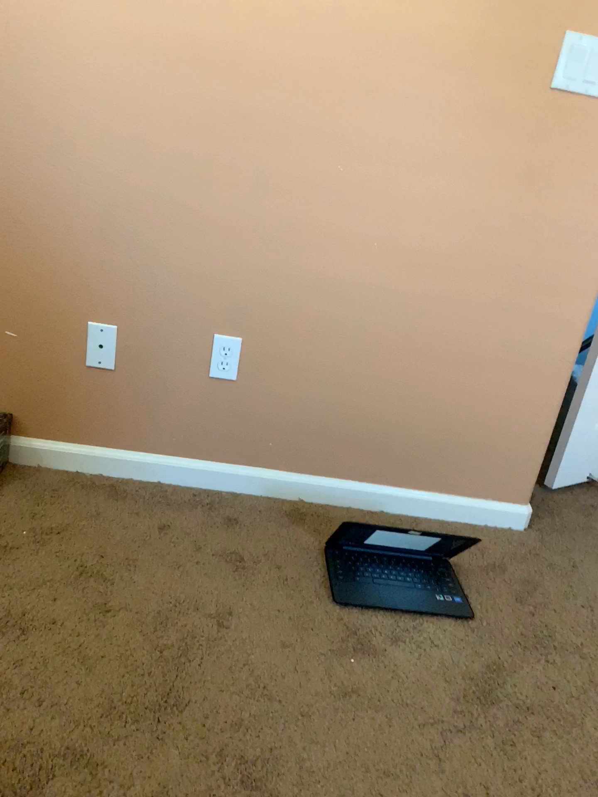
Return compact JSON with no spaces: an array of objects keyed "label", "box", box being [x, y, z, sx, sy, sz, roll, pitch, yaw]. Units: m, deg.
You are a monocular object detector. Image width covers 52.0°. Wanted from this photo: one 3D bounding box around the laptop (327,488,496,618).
[{"label":"laptop","box":[0.225,0.321,1.294,0.292,0.140,0.193,9,21,-6]}]
